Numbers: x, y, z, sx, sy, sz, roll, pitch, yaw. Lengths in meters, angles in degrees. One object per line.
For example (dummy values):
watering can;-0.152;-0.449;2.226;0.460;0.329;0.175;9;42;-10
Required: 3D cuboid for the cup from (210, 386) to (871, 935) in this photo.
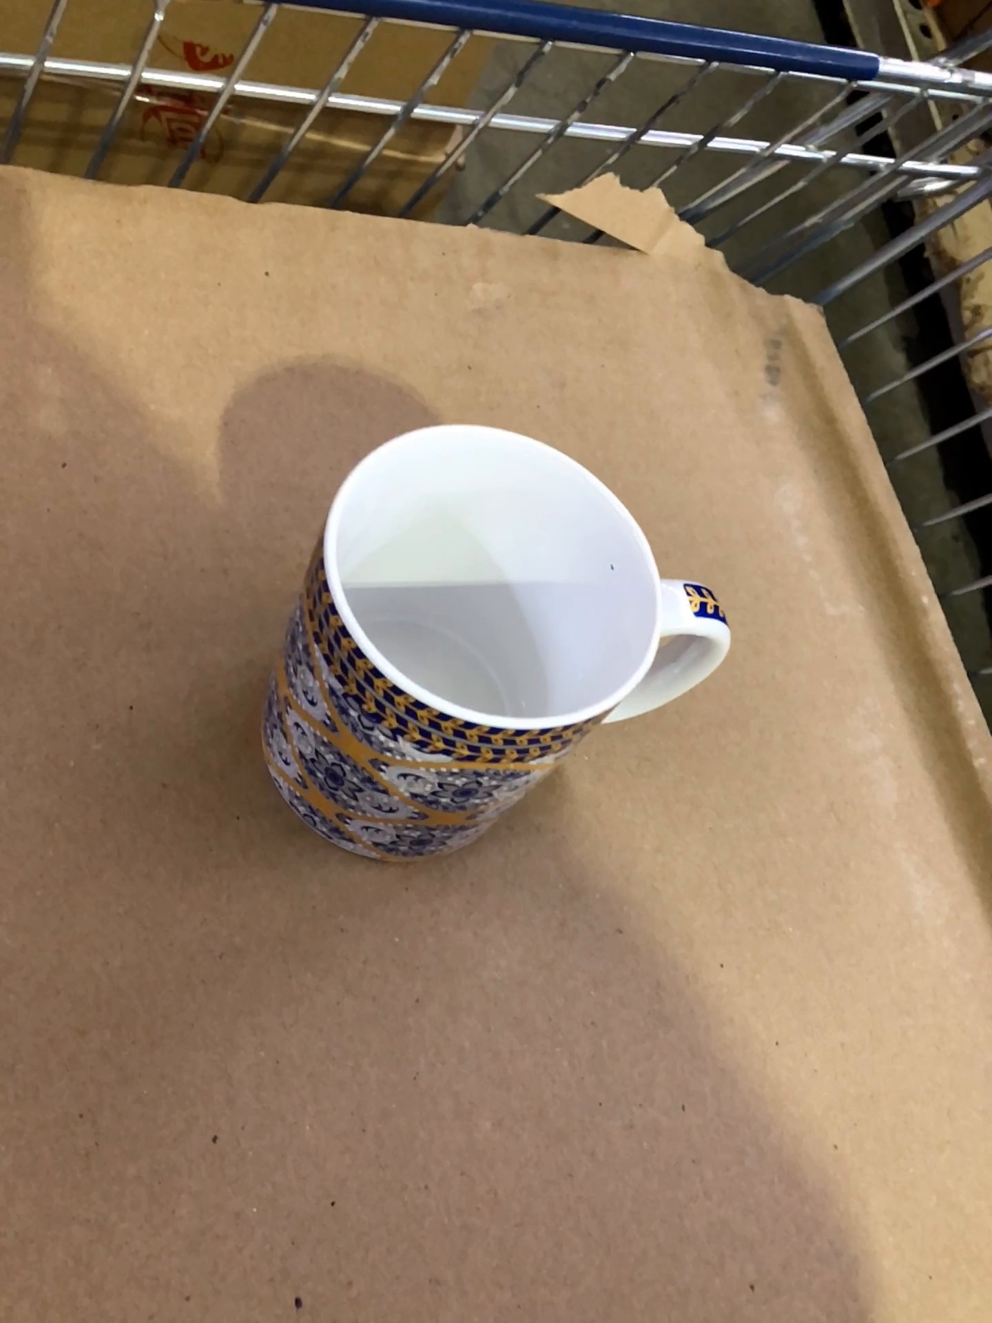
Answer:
cup;0.003;-0.001;0.279;0.120;0.100;0.080;-11;64;-27
